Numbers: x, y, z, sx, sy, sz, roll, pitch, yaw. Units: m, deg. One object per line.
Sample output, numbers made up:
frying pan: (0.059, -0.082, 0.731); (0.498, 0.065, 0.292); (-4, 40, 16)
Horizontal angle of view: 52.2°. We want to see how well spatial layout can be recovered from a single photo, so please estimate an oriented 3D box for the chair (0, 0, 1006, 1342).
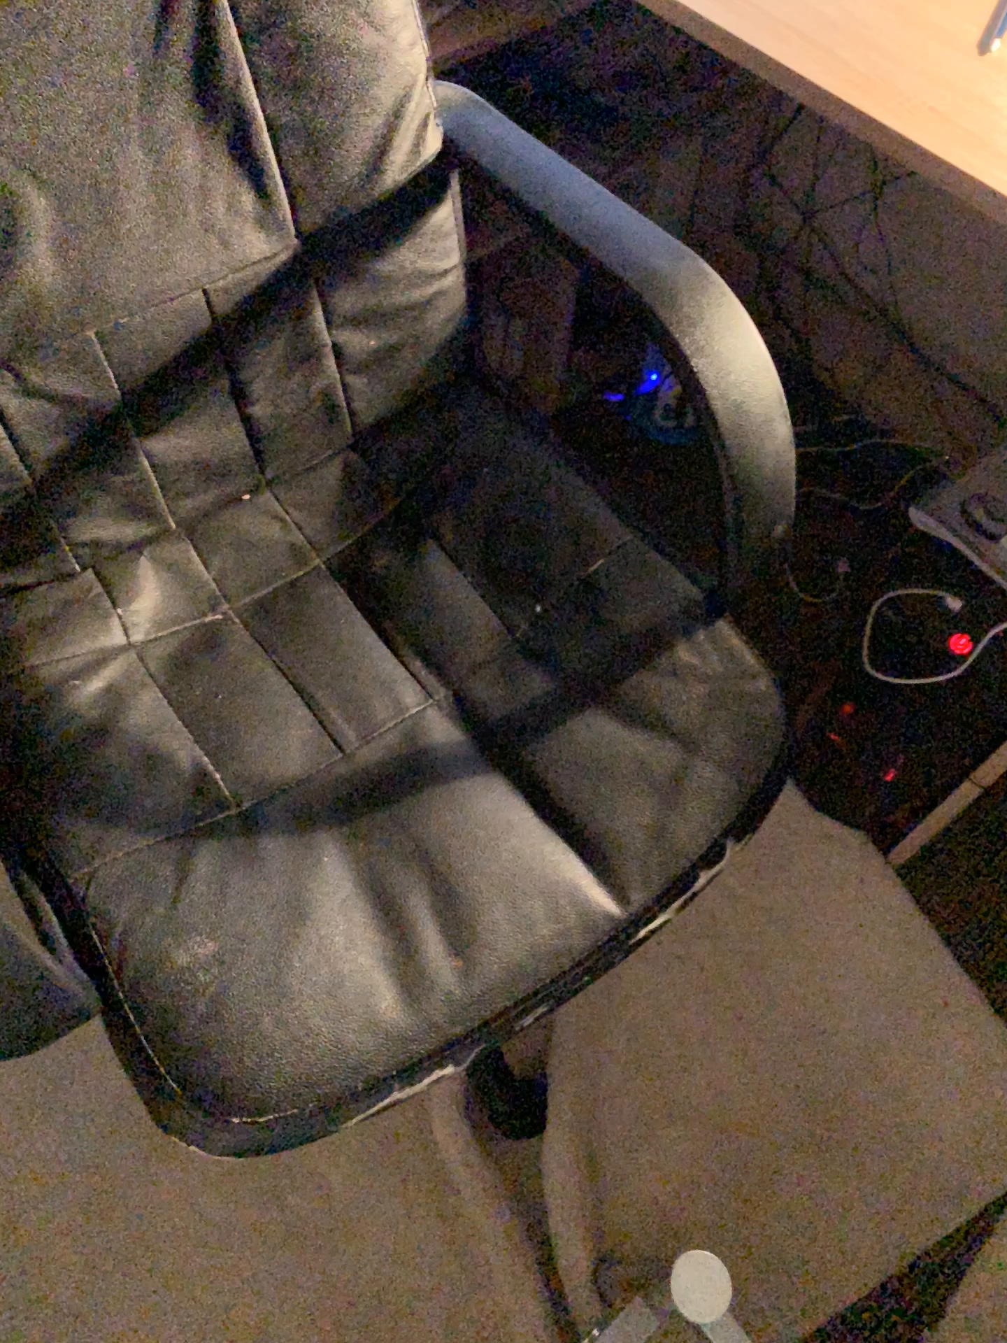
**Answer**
chair: (-0.097, -0.049, 0.755); (0.712, 1.162, 0.653); (-34, 63, -18)
